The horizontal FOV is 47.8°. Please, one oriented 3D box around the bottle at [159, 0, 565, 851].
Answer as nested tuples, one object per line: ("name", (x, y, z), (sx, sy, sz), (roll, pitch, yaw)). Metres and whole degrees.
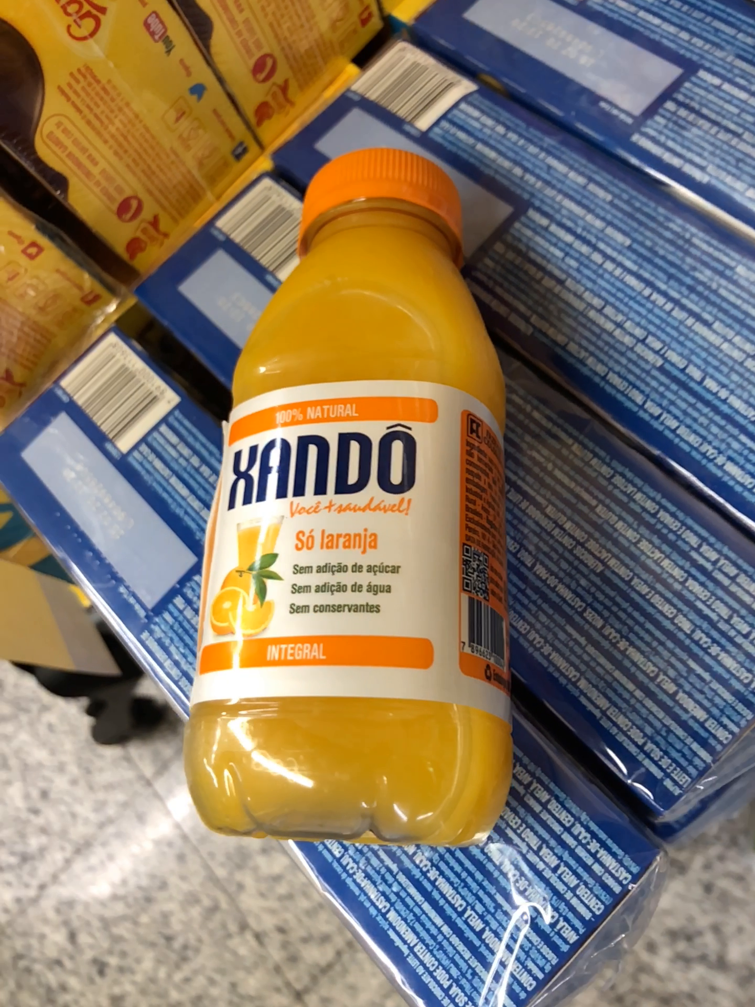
("bottle", (0.005, -0.014, 0.198), (0.060, 0.080, 0.170), (-5, 70, 15))
